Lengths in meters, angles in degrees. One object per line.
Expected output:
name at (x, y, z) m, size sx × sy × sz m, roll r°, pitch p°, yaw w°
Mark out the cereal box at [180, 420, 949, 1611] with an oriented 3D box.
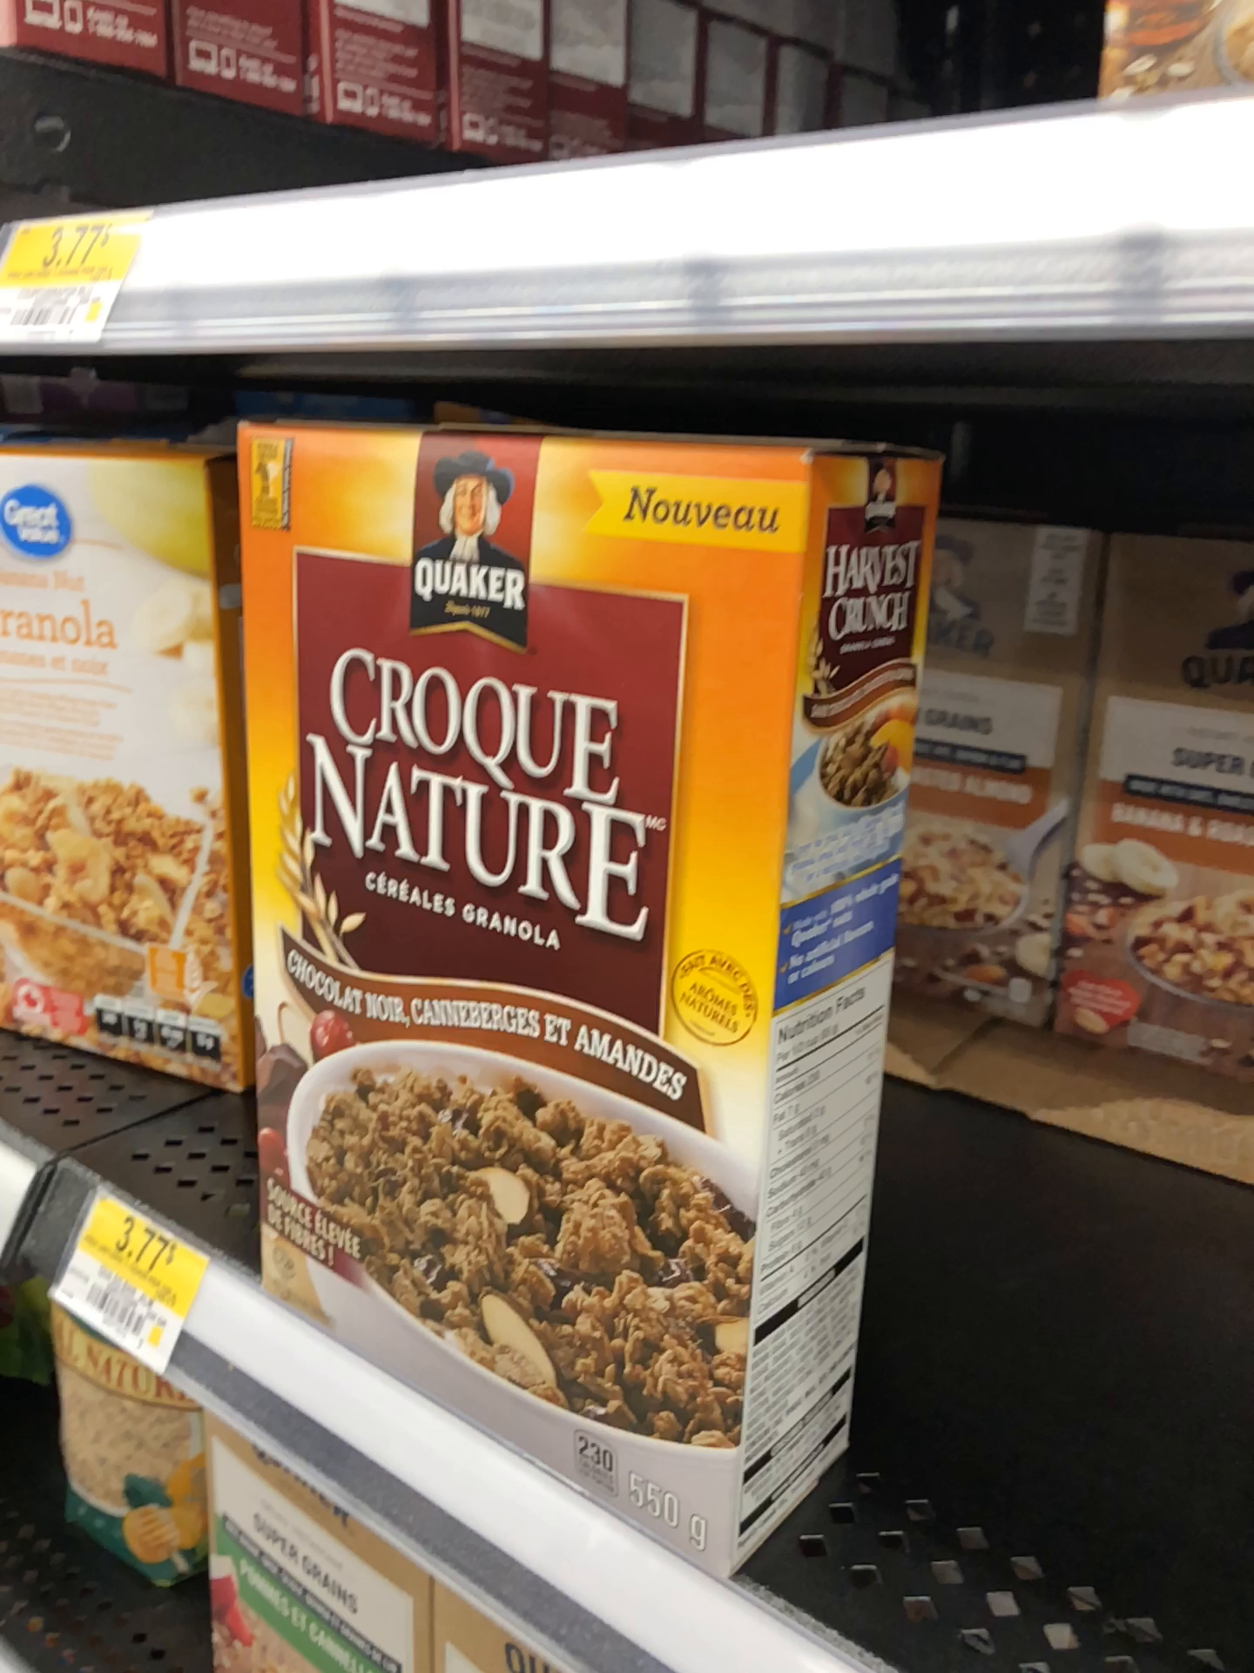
cereal box at (-0.024, 0.025, 0.322) m, size 0.170 × 0.229 × 0.050 m, roll 14°, pitch 20°, yaw 37°
